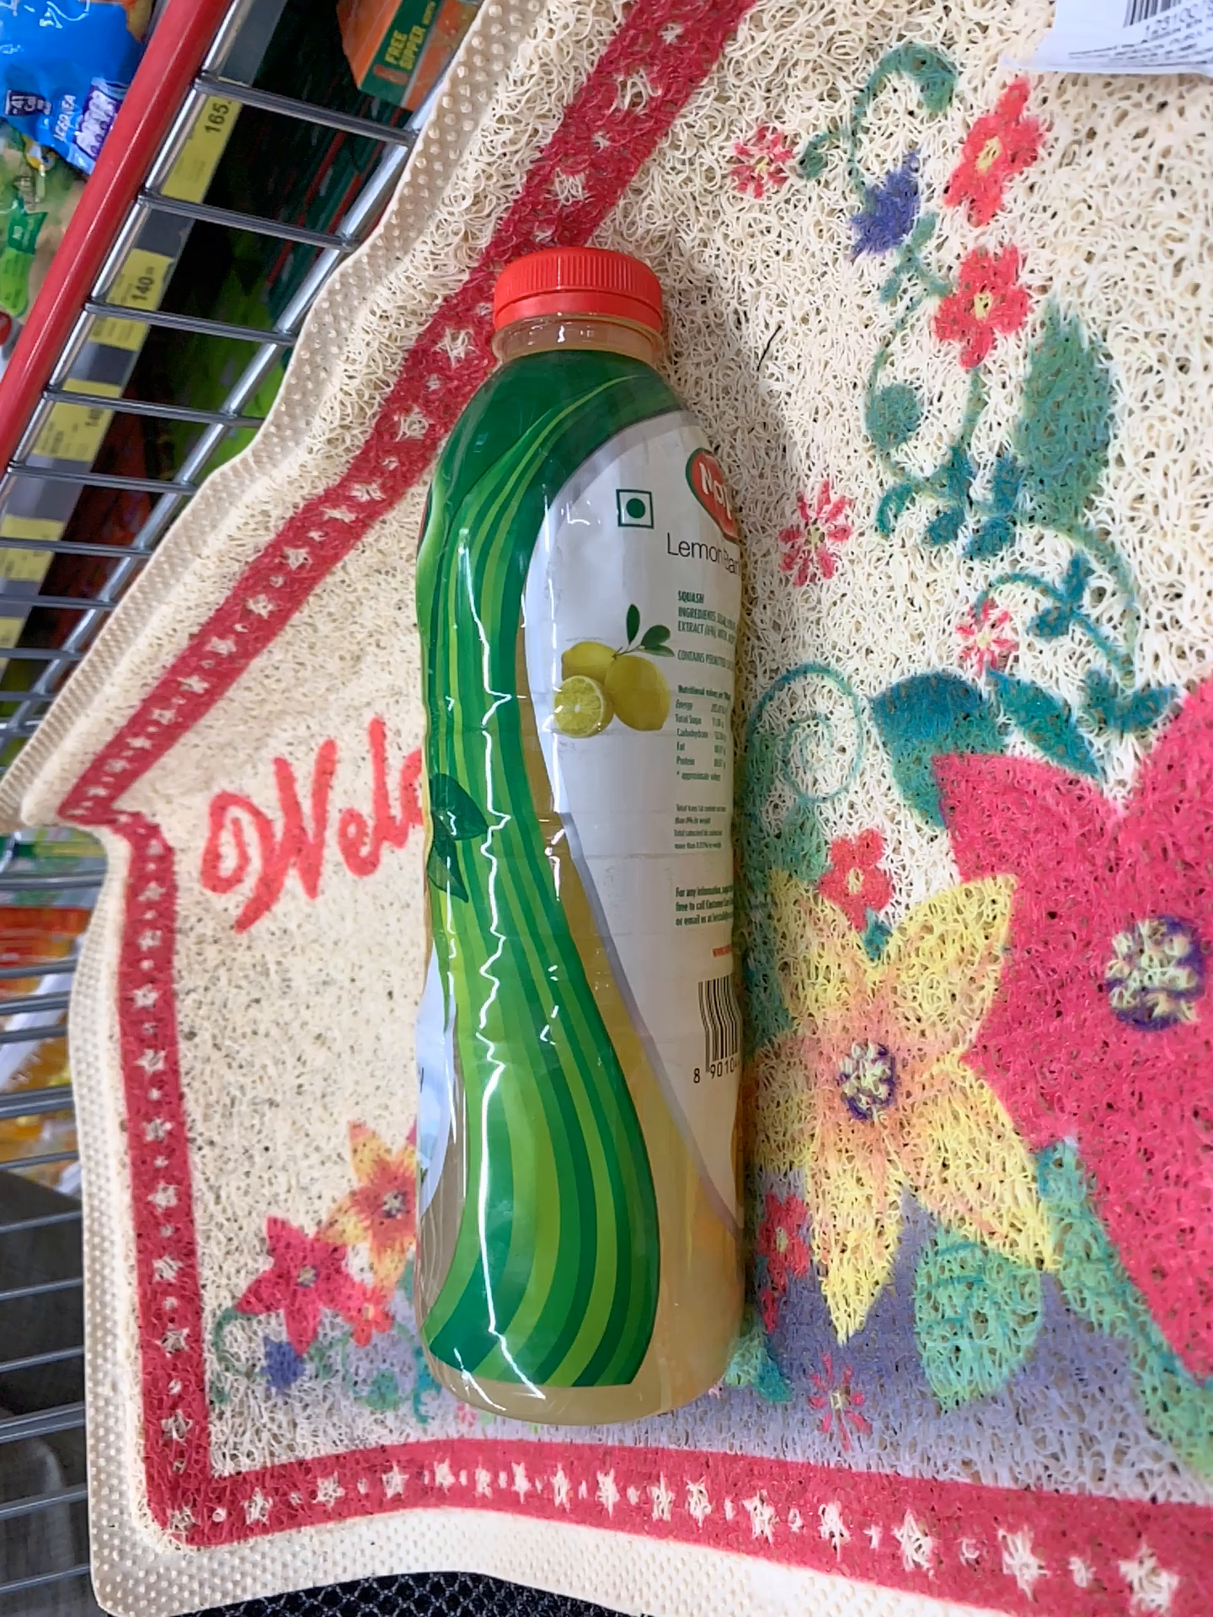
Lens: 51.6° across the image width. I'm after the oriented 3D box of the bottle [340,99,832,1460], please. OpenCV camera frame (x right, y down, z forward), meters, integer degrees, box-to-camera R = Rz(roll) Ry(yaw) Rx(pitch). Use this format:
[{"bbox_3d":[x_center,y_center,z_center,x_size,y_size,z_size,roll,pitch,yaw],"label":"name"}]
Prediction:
[{"bbox_3d":[-0.004,-0.006,0.291,0.080,0.090,0.270,113,159,-89],"label":"bottle"}]
